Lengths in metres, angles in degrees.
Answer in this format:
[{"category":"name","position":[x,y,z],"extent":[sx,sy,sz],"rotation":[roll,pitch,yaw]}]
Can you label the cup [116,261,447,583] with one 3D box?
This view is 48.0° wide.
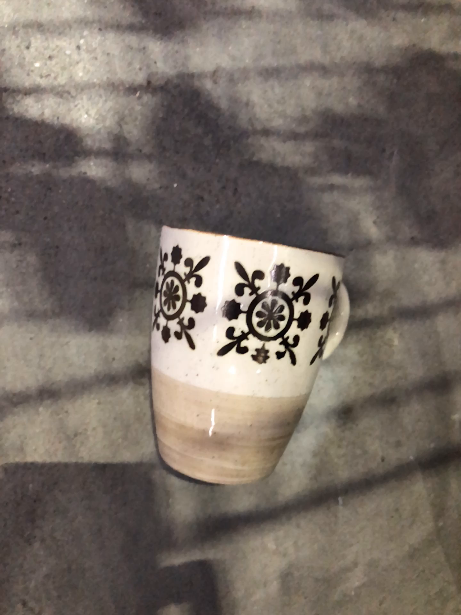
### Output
[{"category":"cup","position":[0.020,0.032,0.202],"extent":[0.100,0.070,0.090],"rotation":[3,94,-36]}]
